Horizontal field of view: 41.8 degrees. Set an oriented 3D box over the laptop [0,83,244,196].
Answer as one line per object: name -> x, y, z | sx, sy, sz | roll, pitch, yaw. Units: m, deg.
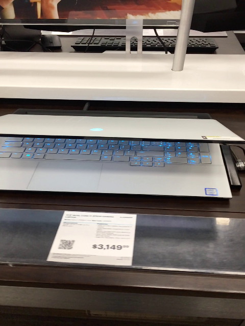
laptop -> -0.034, -0.055, 0.574 | 0.435, 0.101, 0.217 | 2, 38, 5
